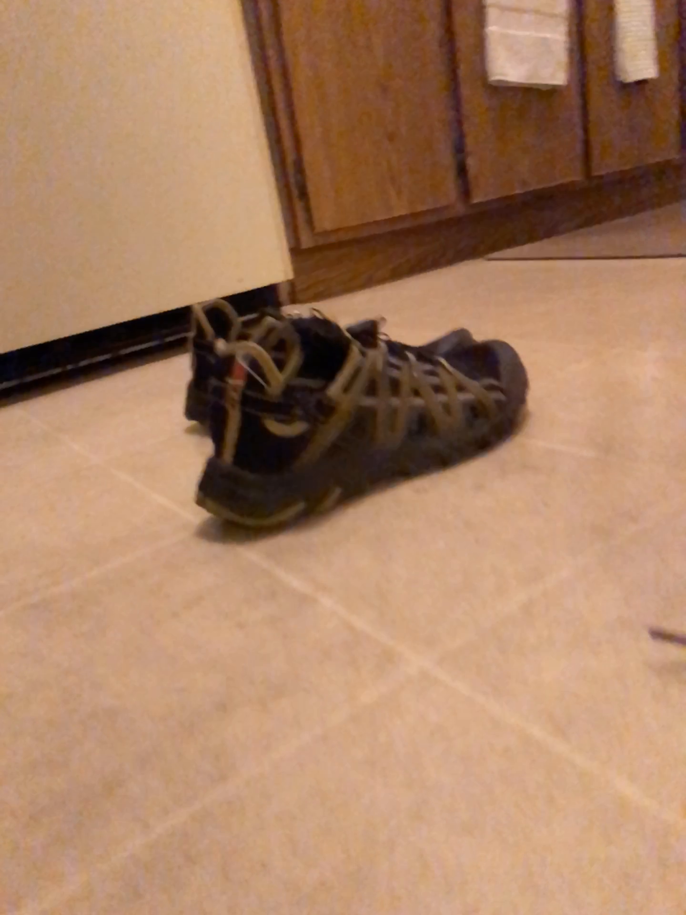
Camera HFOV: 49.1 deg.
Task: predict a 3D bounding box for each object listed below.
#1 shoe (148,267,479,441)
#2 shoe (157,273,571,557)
[{"bbox_3d":[-0.022,-0.096,0.706,0.279,0.109,0.100,-5,20,16],"label":"shoe"},{"bbox_3d":[0.030,-0.050,0.554,0.287,0.111,0.109,-23,23,-32],"label":"shoe"}]
